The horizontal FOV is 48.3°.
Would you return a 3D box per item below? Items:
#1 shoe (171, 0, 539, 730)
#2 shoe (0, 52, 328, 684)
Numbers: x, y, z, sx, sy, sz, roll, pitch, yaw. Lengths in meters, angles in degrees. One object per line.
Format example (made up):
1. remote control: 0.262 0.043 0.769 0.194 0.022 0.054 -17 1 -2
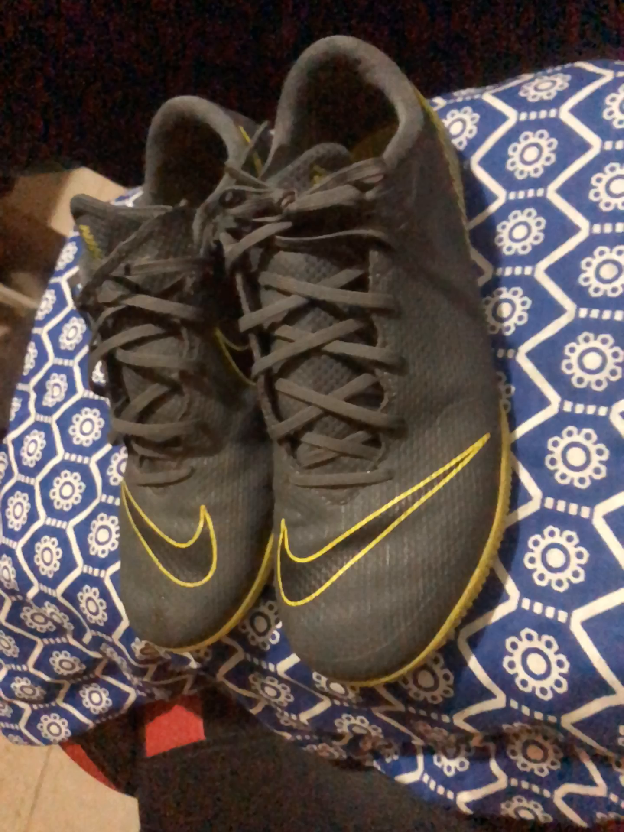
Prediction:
1. shoe: 0.026 -0.023 0.262 0.090 0.090 0.240 -6 72 31
2. shoe: -0.061 -0.016 0.308 0.090 0.090 0.240 -6 72 31
